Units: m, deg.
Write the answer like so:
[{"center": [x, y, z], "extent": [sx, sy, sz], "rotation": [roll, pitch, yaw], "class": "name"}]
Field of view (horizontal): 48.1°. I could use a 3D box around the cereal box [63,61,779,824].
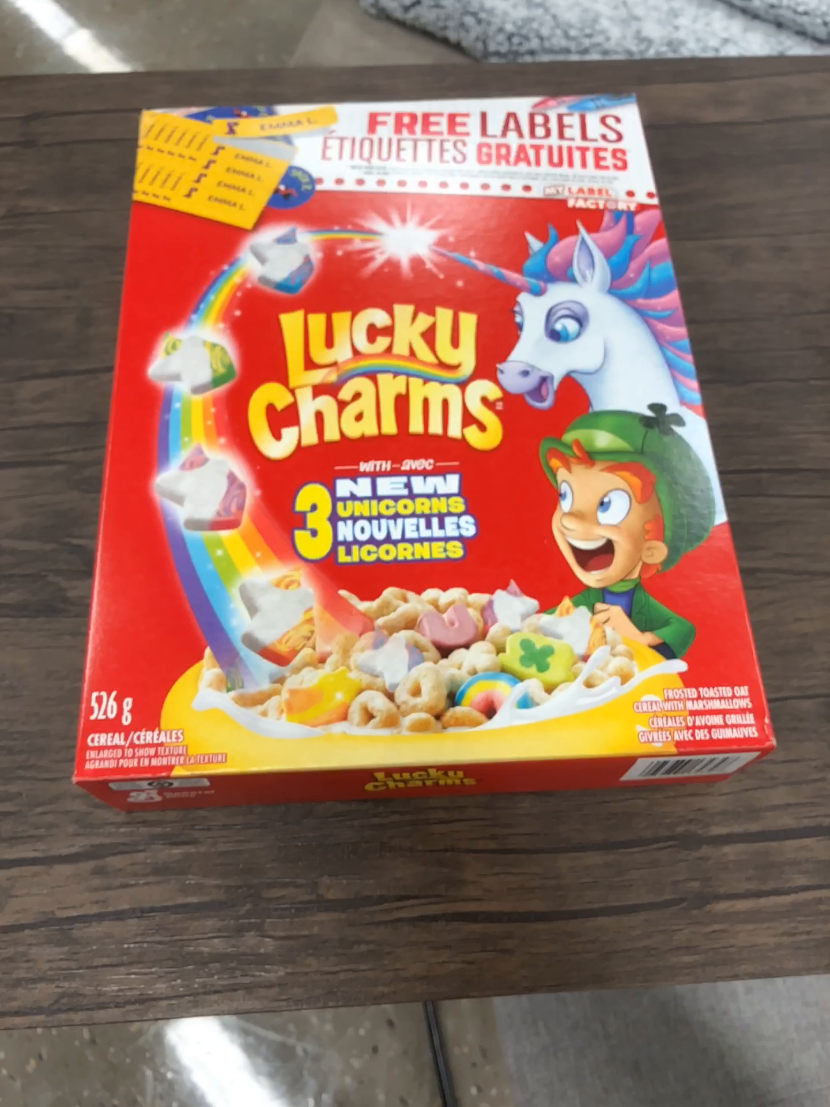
[{"center": [-0.006, -0.064, 0.406], "extent": [0.230, 0.080, 0.330], "rotation": [-3, 64, -2], "class": "cereal box"}]
